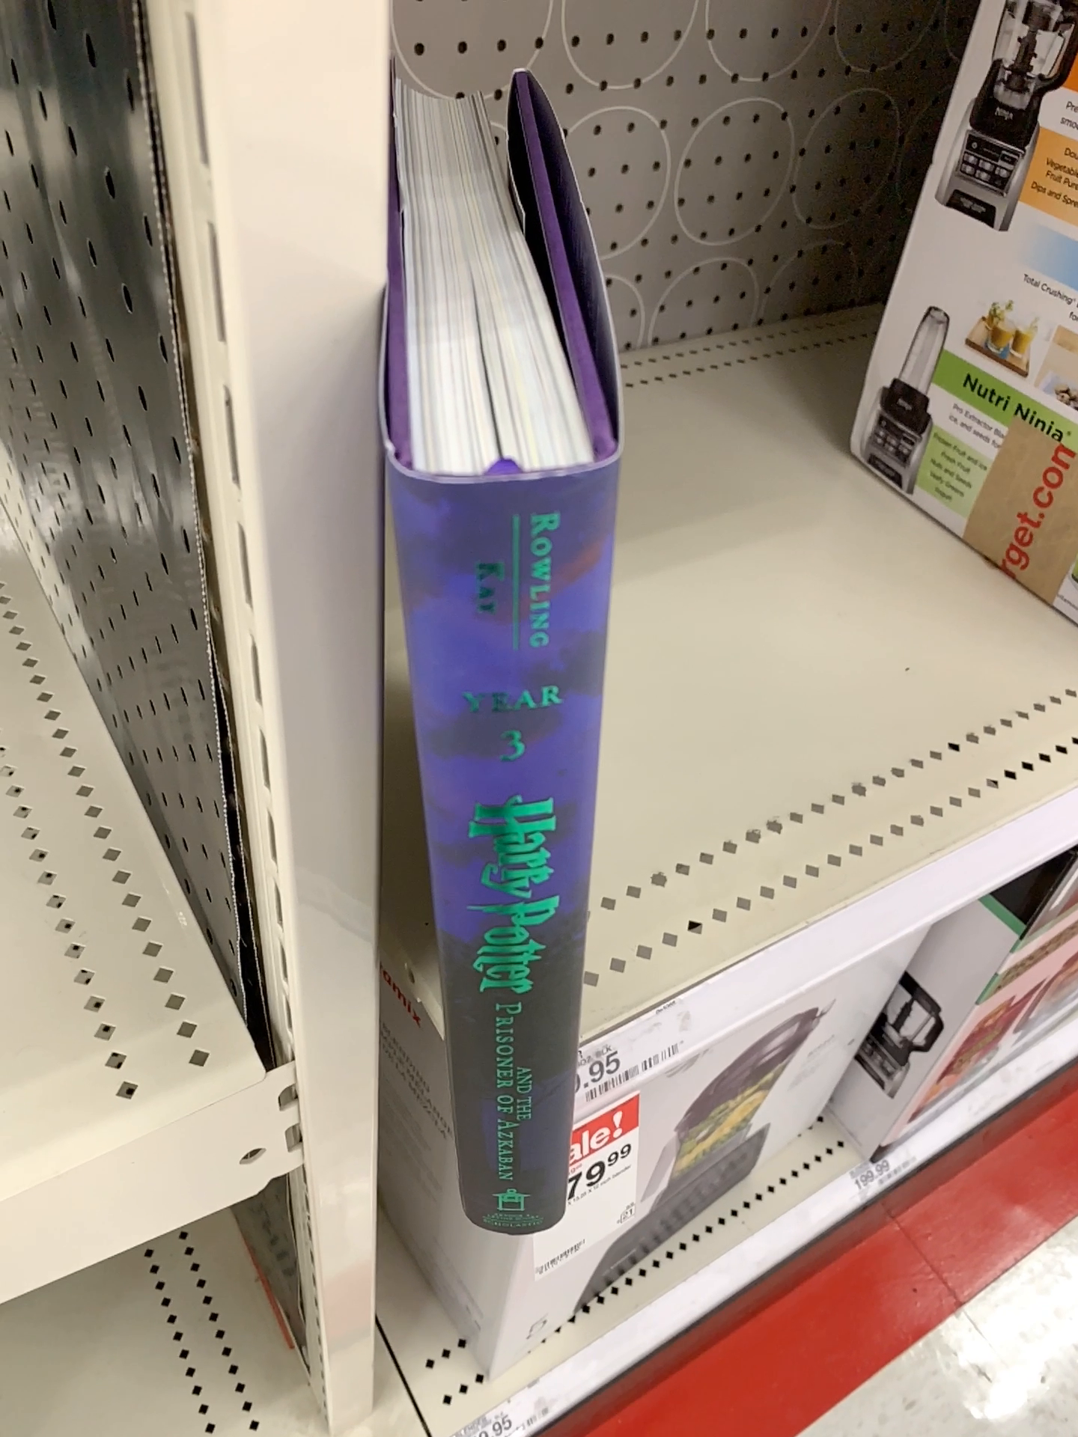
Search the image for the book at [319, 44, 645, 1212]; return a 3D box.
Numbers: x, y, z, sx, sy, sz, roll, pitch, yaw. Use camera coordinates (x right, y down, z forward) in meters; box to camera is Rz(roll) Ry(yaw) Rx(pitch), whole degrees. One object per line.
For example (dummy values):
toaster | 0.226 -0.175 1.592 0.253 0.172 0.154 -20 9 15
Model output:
book | -0.019 -0.022 0.354 0.050 0.280 0.241 -2 45 -4
